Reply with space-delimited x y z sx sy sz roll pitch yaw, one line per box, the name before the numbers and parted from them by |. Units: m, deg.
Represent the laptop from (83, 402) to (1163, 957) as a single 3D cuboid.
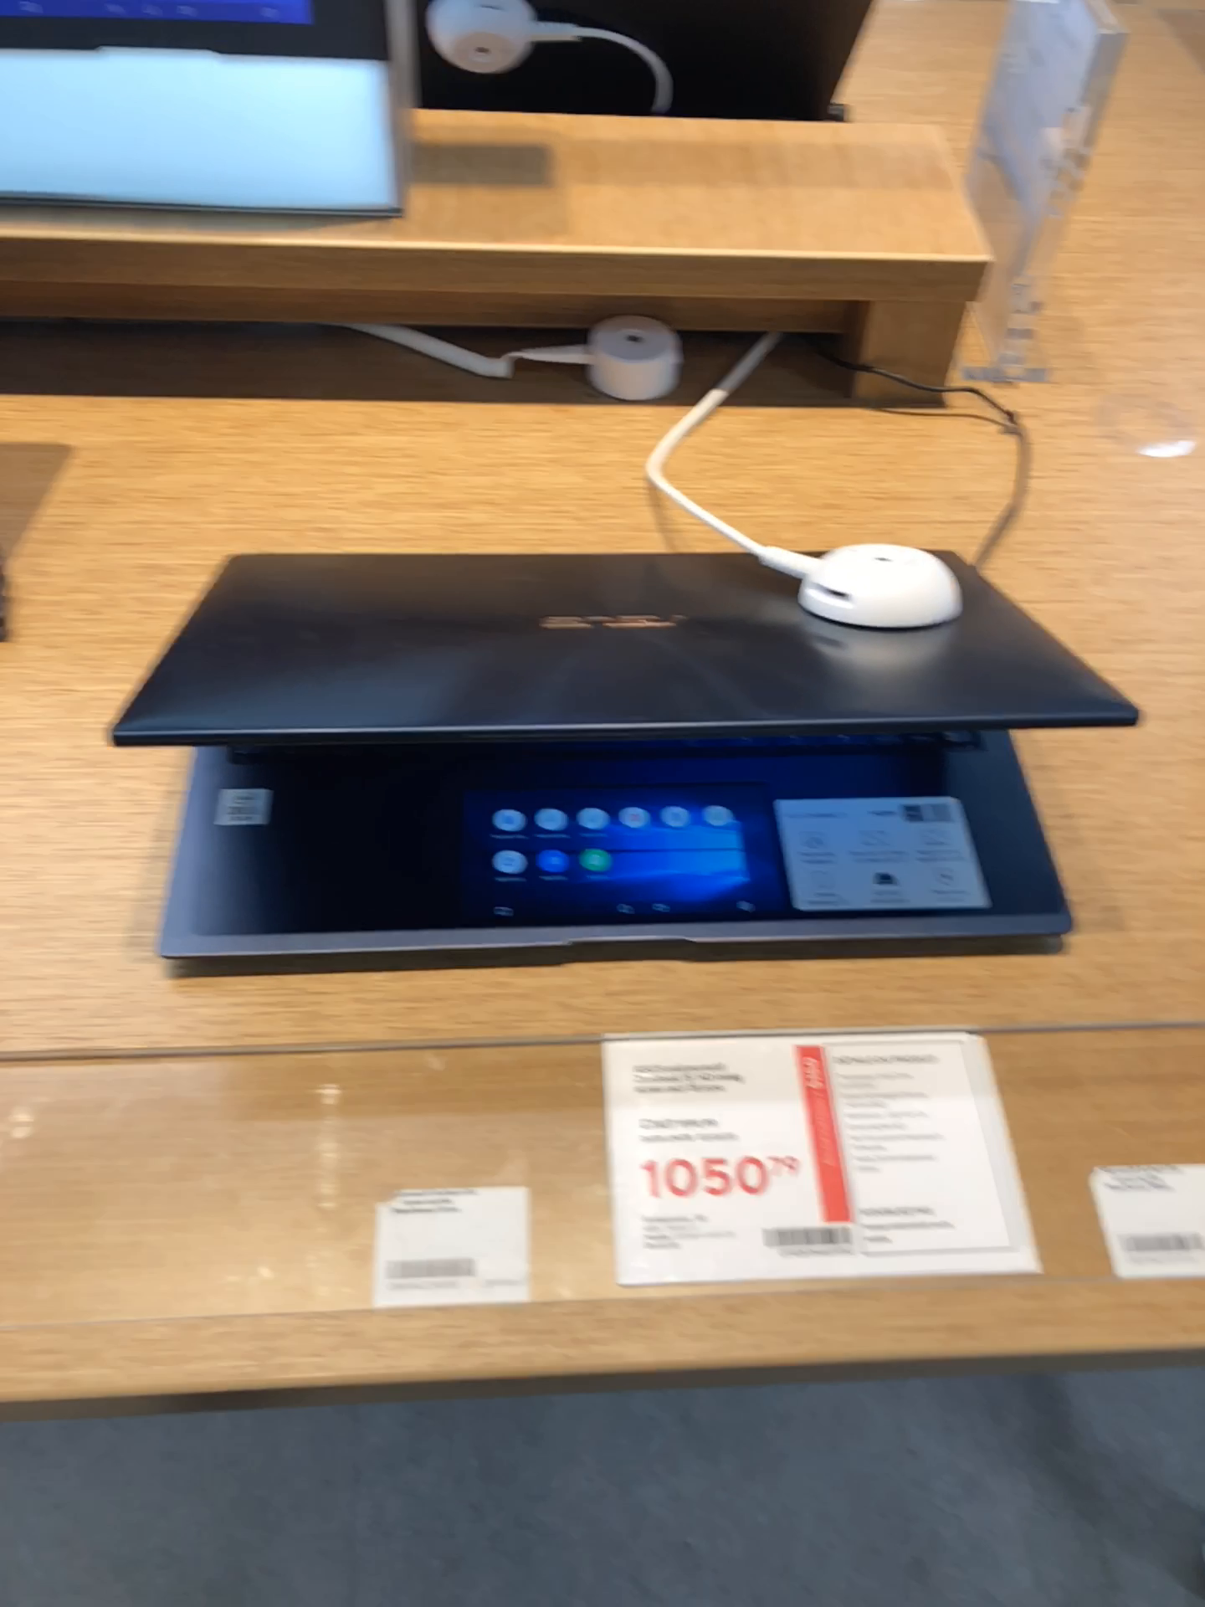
laptop | 0.006 -0.058 0.532 0.352 0.098 0.209 -1 51 -5
